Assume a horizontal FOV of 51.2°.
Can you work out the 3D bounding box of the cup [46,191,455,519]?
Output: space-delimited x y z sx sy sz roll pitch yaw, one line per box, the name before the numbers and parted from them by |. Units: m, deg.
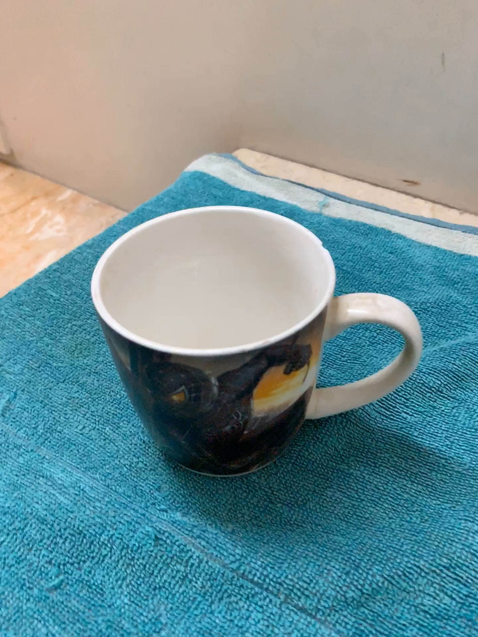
cup | 0.008 0.012 0.203 0.120 0.089 0.081 6 44 9
